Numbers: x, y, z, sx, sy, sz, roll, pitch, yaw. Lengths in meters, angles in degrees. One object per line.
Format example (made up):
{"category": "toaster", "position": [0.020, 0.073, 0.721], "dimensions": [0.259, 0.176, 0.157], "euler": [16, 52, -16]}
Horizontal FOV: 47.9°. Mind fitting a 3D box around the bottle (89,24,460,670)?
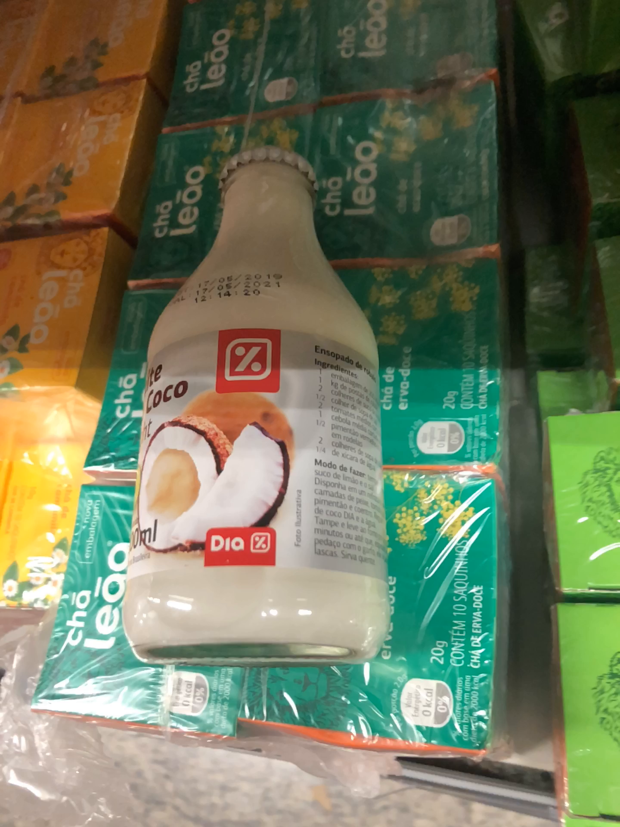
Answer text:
{"category": "bottle", "position": [-0.005, -0.018, 0.188], "dimensions": [0.070, 0.050, 0.160], "euler": [-7, 66, 16]}
